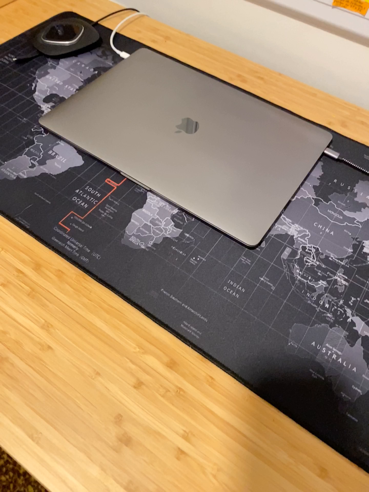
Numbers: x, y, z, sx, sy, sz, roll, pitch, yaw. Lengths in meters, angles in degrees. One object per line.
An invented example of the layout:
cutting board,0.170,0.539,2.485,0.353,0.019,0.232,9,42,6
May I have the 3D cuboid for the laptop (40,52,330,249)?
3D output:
laptop,0.002,-0.159,0.522,0.336,0.002,0.227,31,61,17
